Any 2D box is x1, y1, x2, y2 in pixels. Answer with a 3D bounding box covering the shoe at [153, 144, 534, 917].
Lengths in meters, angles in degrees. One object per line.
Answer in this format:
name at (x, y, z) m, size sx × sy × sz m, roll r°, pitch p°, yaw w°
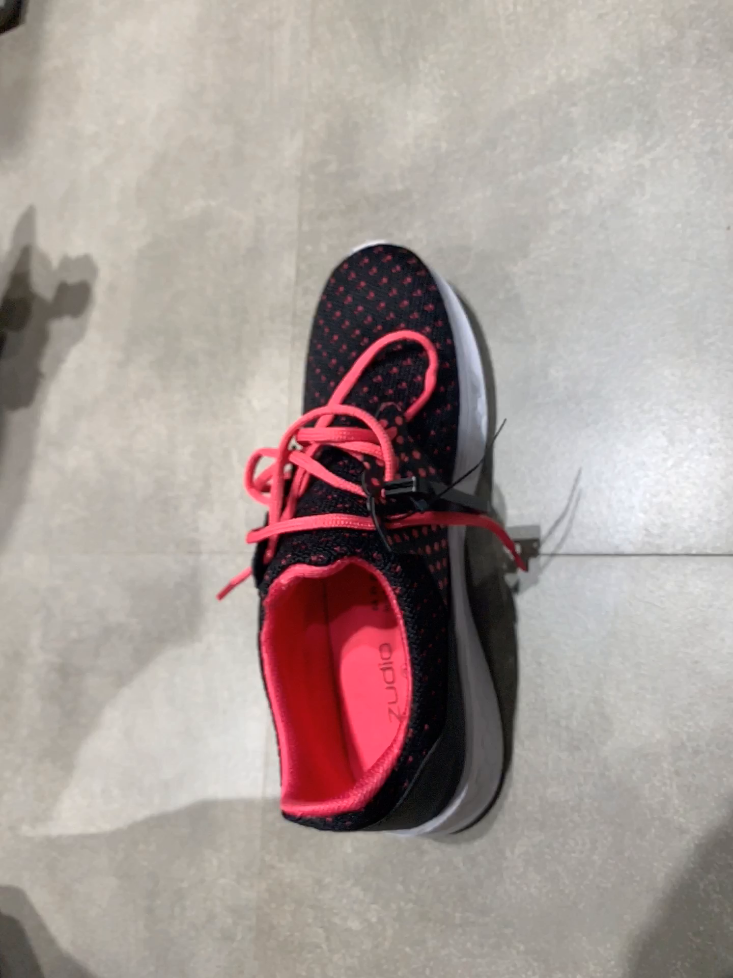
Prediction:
shoe at (-0.010, 0.017, 0.329) m, size 0.110 × 0.109 × 0.263 m, roll -9°, pitch 76°, yaw 29°
